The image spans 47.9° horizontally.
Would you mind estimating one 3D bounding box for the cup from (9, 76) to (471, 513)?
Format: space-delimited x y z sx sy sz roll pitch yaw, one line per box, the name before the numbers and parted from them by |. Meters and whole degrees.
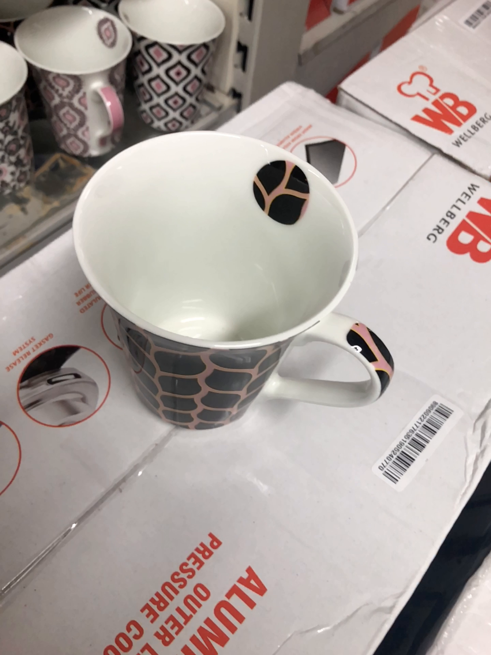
cup | -0.003 -0.007 0.204 0.110 0.100 0.080 29 61 10
